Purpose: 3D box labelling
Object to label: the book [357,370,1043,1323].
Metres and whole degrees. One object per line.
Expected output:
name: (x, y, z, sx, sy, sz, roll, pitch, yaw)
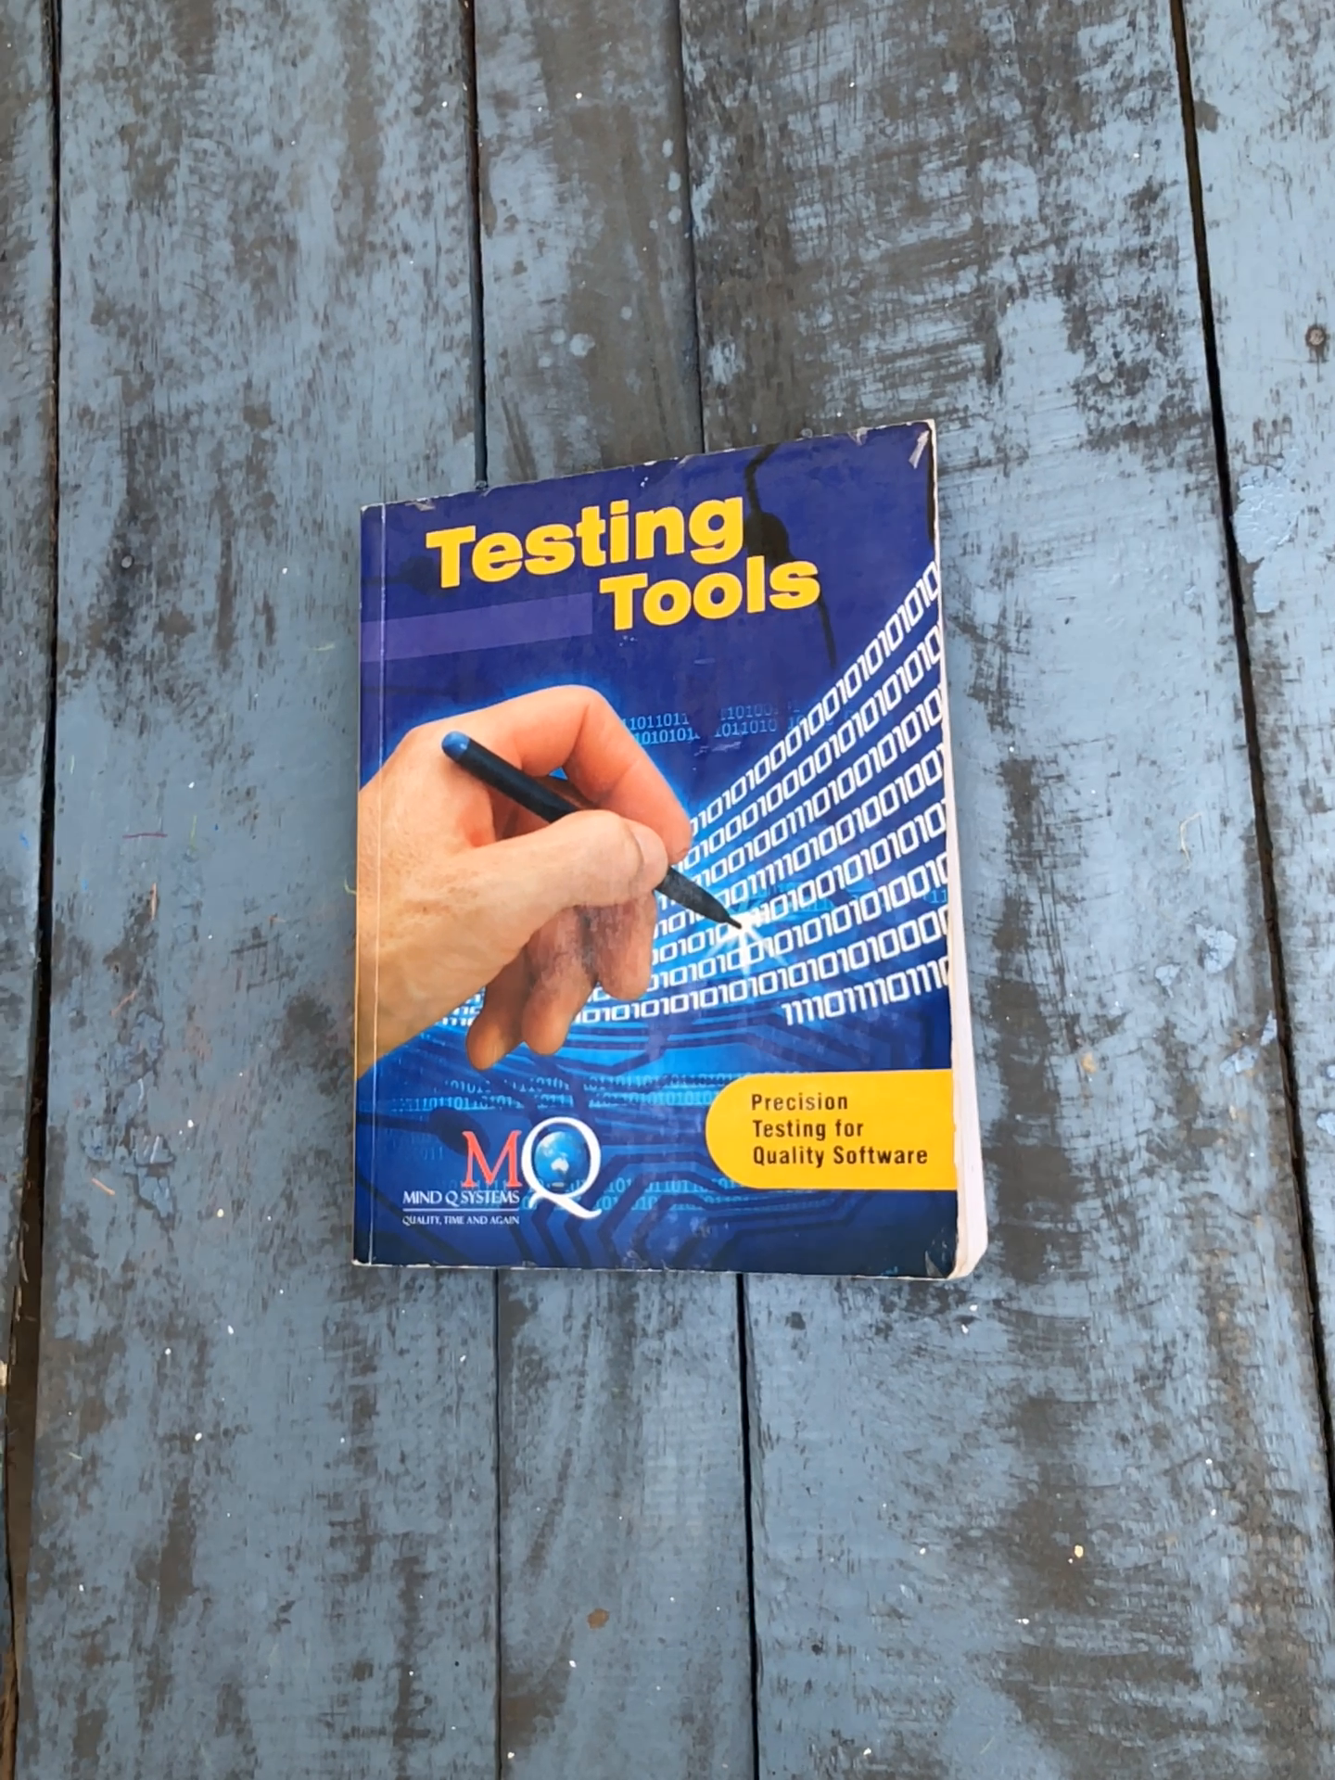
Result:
book: (0.006, -0.008, 0.449, 0.190, 0.050, 0.260, -5, 78, 19)
